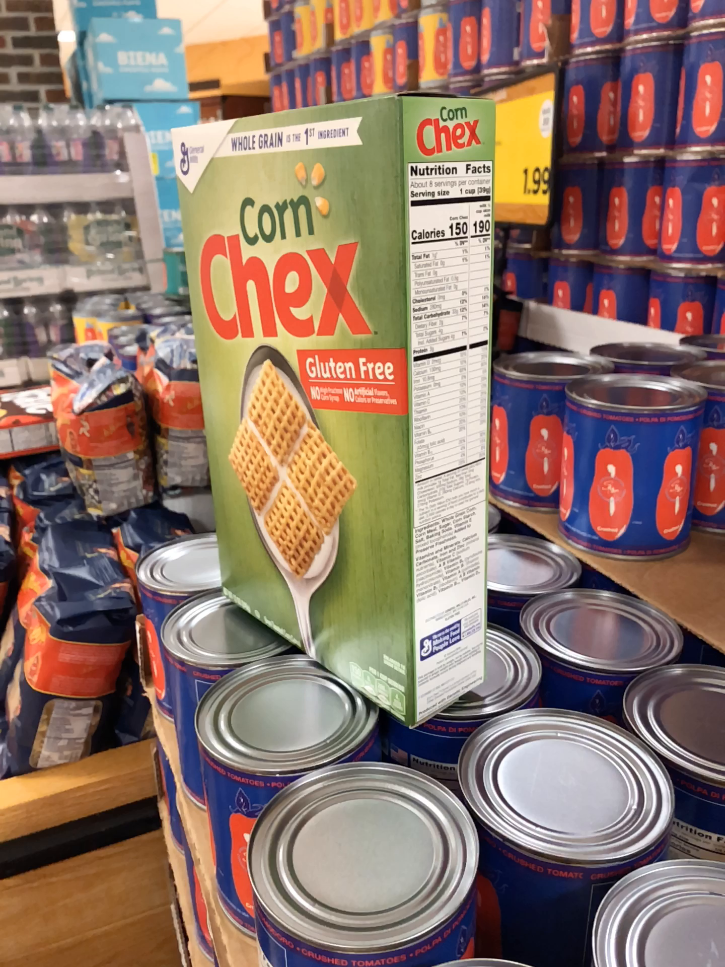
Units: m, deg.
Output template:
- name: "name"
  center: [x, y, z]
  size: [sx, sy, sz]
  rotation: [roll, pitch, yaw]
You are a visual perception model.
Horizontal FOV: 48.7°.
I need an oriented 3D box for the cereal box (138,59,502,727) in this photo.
- name: "cereal box"
  center: [-0.030, -0.054, 0.447]
  size: [0.060, 0.298, 0.221]
  rotation: [-18, 25, -36]
